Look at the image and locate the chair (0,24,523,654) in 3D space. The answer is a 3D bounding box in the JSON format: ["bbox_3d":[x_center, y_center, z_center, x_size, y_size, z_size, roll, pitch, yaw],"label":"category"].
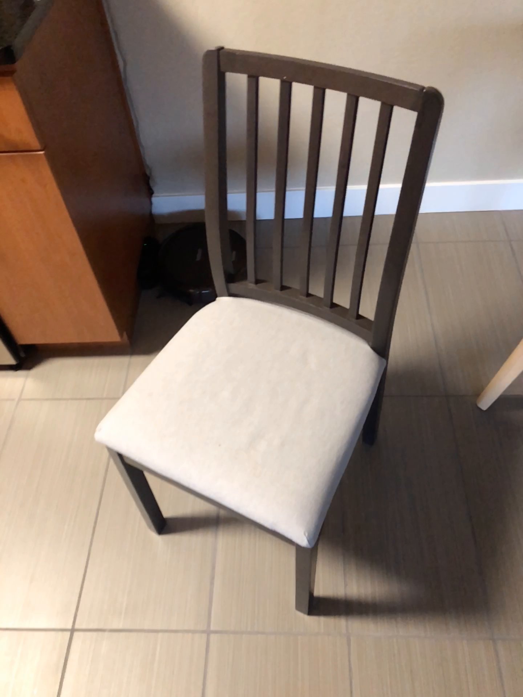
[{"bbox_3d":[-0.005,0.023,1.045,0.581,0.846,0.592,21,56,20],"label":"chair"}]
